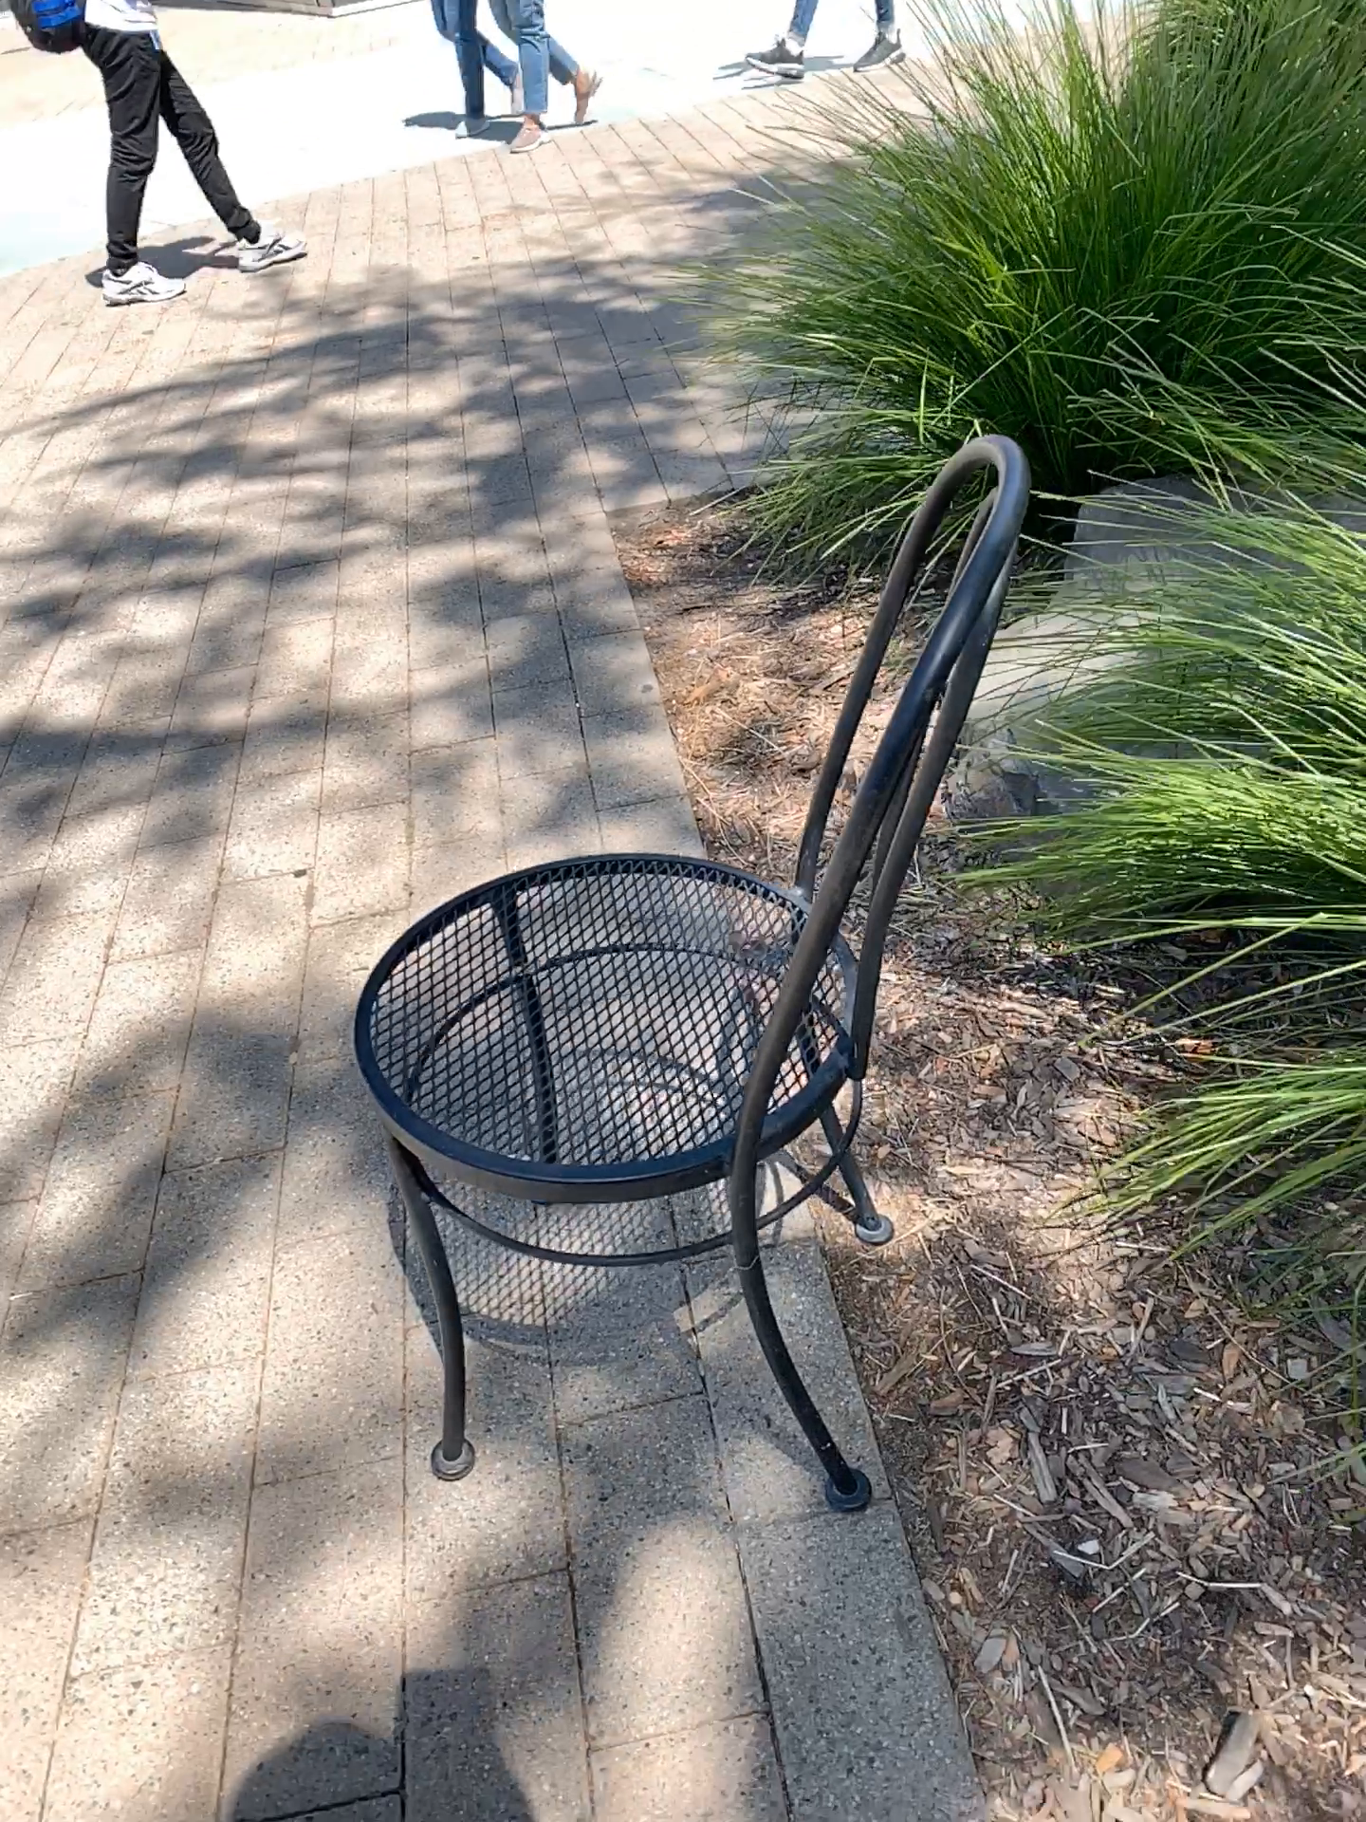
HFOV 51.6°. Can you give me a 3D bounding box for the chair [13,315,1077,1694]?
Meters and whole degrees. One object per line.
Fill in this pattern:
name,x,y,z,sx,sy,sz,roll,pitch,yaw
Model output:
chair,0.017,0.125,1.143,0.532,0.997,0.460,2,39,14
